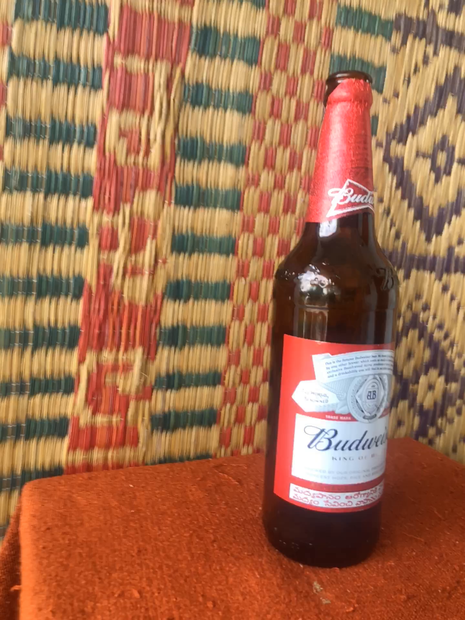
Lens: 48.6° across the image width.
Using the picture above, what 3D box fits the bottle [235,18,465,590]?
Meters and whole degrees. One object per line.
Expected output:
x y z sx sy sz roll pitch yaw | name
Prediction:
0.067 0.002 0.281 0.090 0.259 0.070 1 9 -24 | bottle
